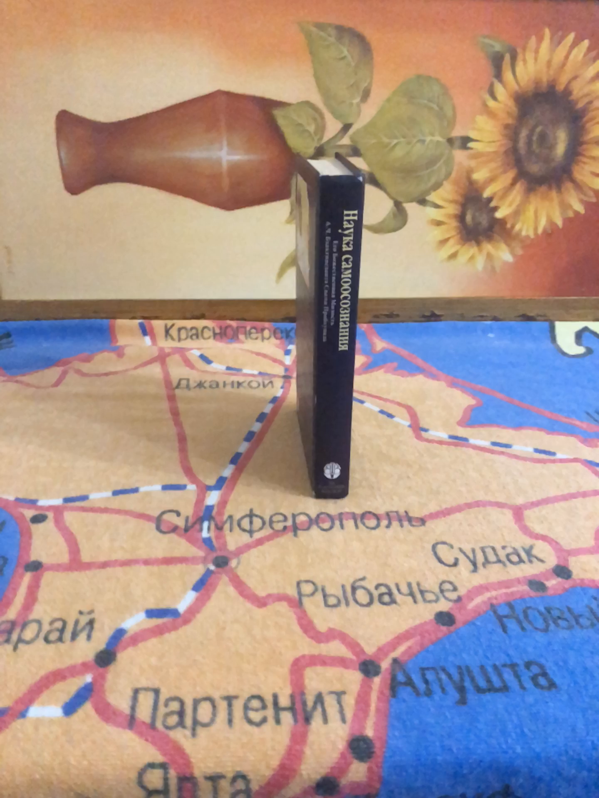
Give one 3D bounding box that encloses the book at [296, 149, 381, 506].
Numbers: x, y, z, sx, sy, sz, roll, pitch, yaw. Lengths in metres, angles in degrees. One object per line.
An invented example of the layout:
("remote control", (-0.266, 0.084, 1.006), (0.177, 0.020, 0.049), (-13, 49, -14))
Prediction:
("book", (0.020, -0.054, 0.449), (0.030, 0.206, 0.141), (-1, 25, -5))
